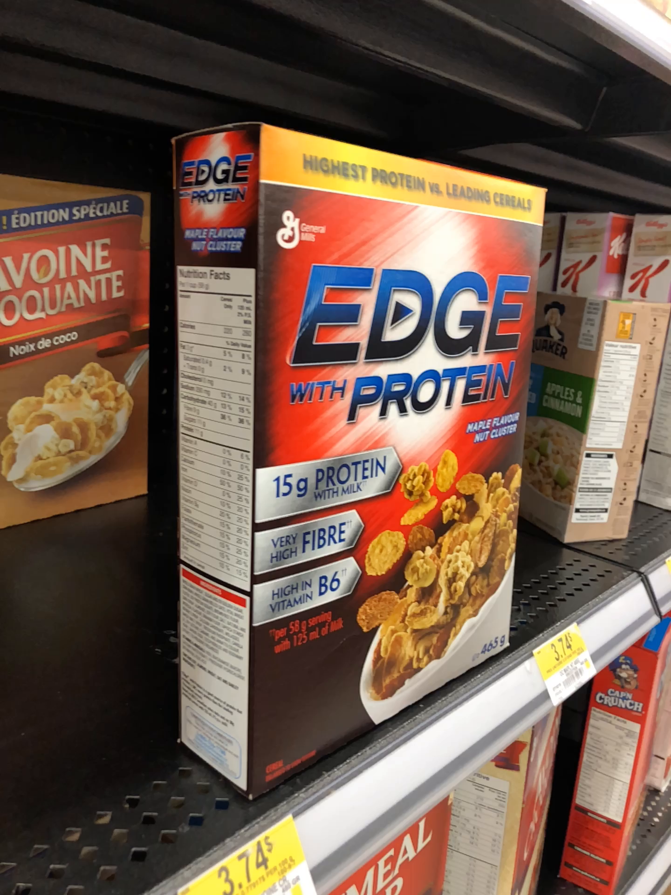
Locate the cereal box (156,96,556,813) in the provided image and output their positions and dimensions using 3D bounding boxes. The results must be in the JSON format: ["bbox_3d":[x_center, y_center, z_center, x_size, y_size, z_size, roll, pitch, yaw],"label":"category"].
[{"bbox_3d":[0.017,-0.003,0.363,0.060,0.269,0.200,13,16,43],"label":"cereal box"}]
